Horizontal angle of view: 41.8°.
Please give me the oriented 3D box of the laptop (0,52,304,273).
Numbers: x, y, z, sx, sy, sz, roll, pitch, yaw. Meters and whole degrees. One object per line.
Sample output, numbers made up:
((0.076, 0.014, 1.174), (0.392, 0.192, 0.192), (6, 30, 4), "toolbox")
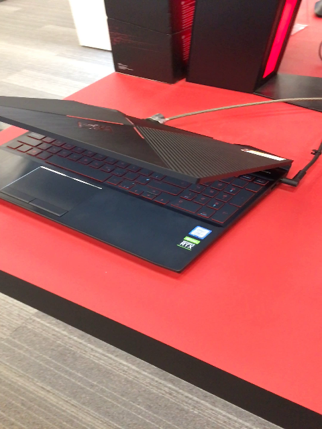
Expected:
((-0.068, -0.092, 0.555), (0.385, 0.107, 0.214), (23, 53, 24), "laptop")
